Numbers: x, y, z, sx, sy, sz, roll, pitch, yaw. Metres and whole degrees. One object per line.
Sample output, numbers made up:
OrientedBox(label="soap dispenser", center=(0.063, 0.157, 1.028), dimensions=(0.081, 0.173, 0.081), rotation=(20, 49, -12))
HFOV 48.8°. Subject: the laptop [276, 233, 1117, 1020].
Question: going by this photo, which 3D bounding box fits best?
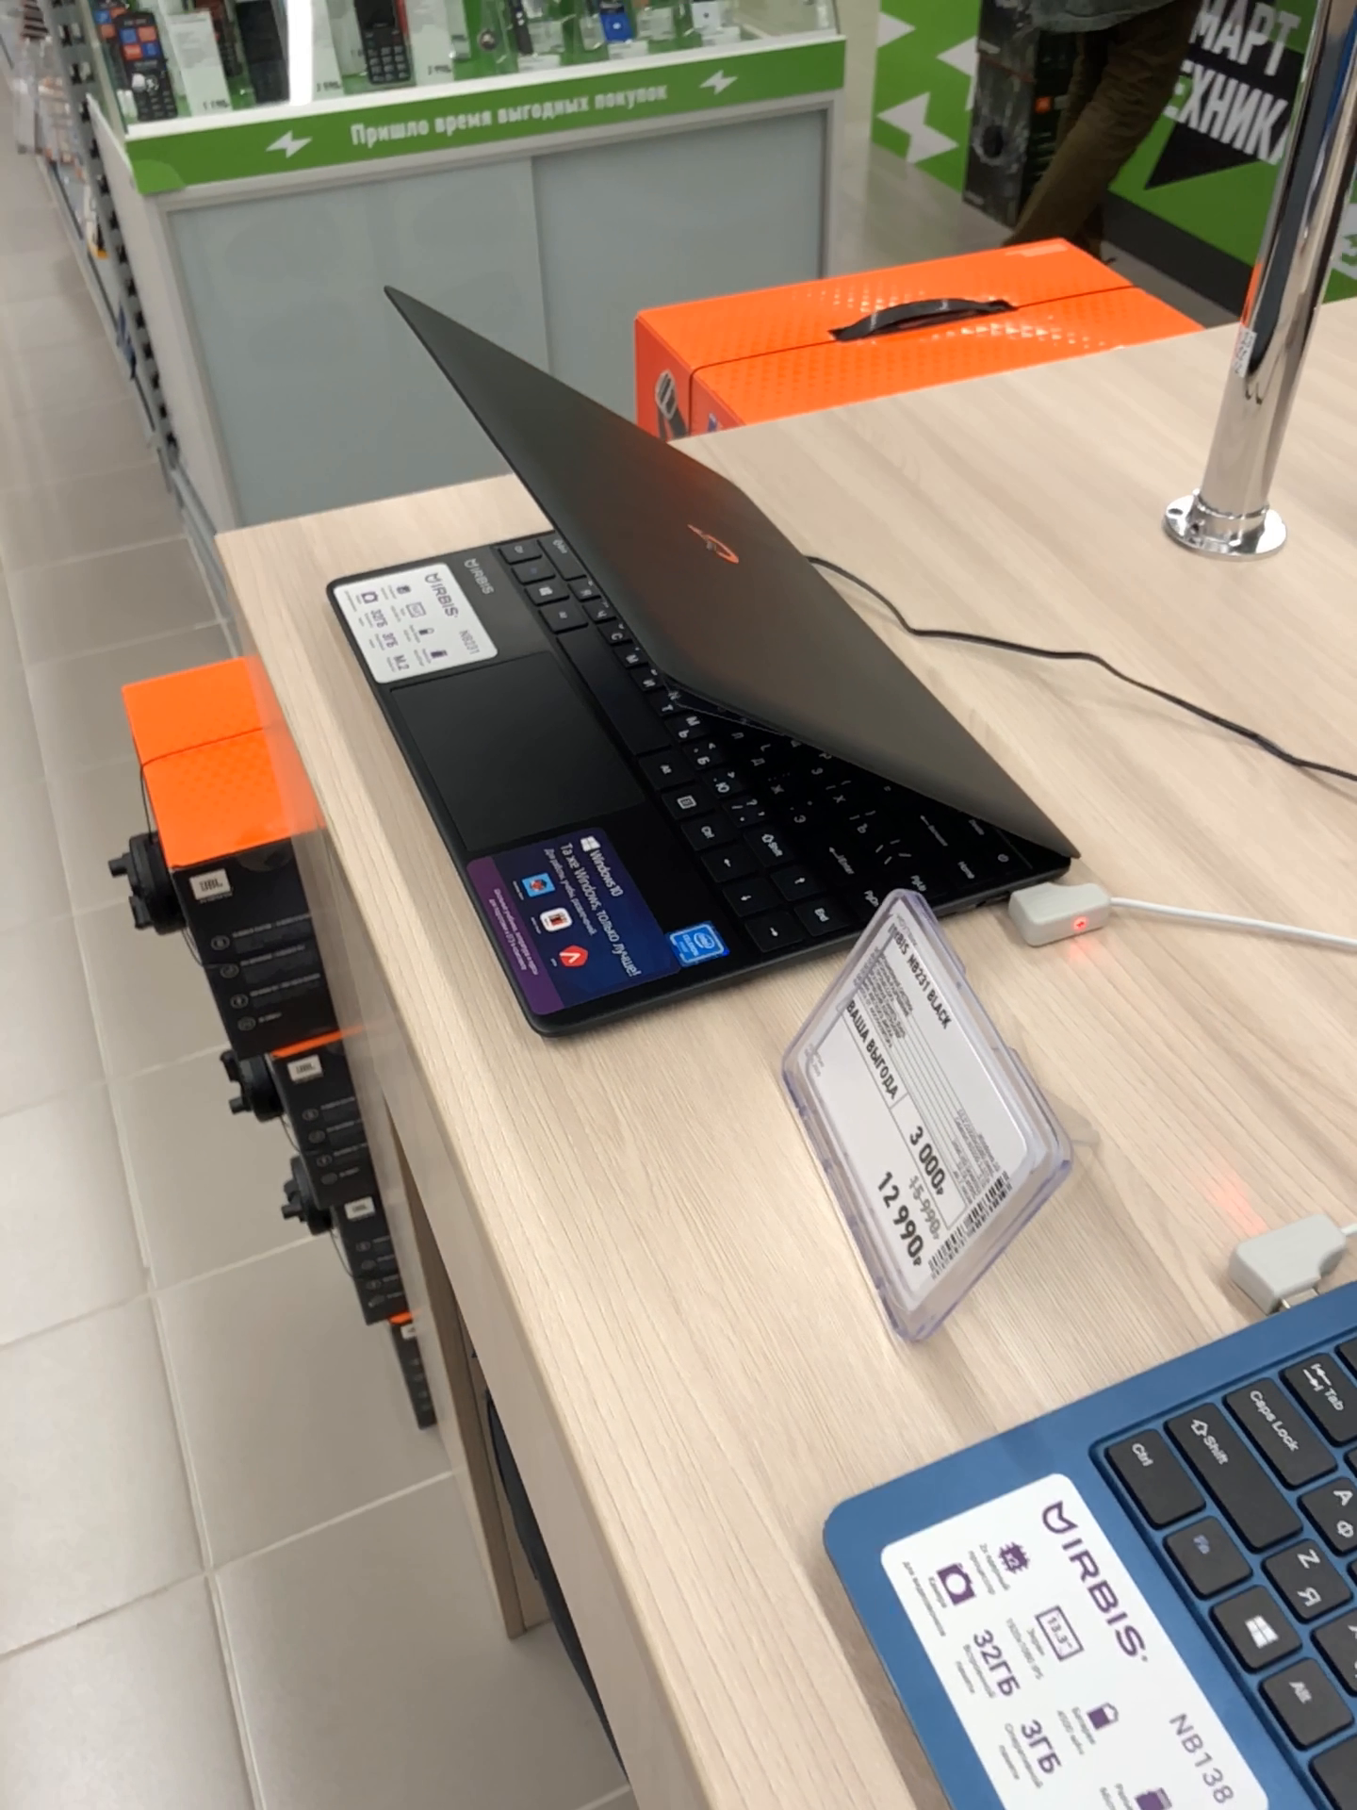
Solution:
OrientedBox(label="laptop", center=(-0.013, -0.131, 0.585), dimensions=(0.203, 0.132, 0.300), rotation=(-16, 45, -16))
